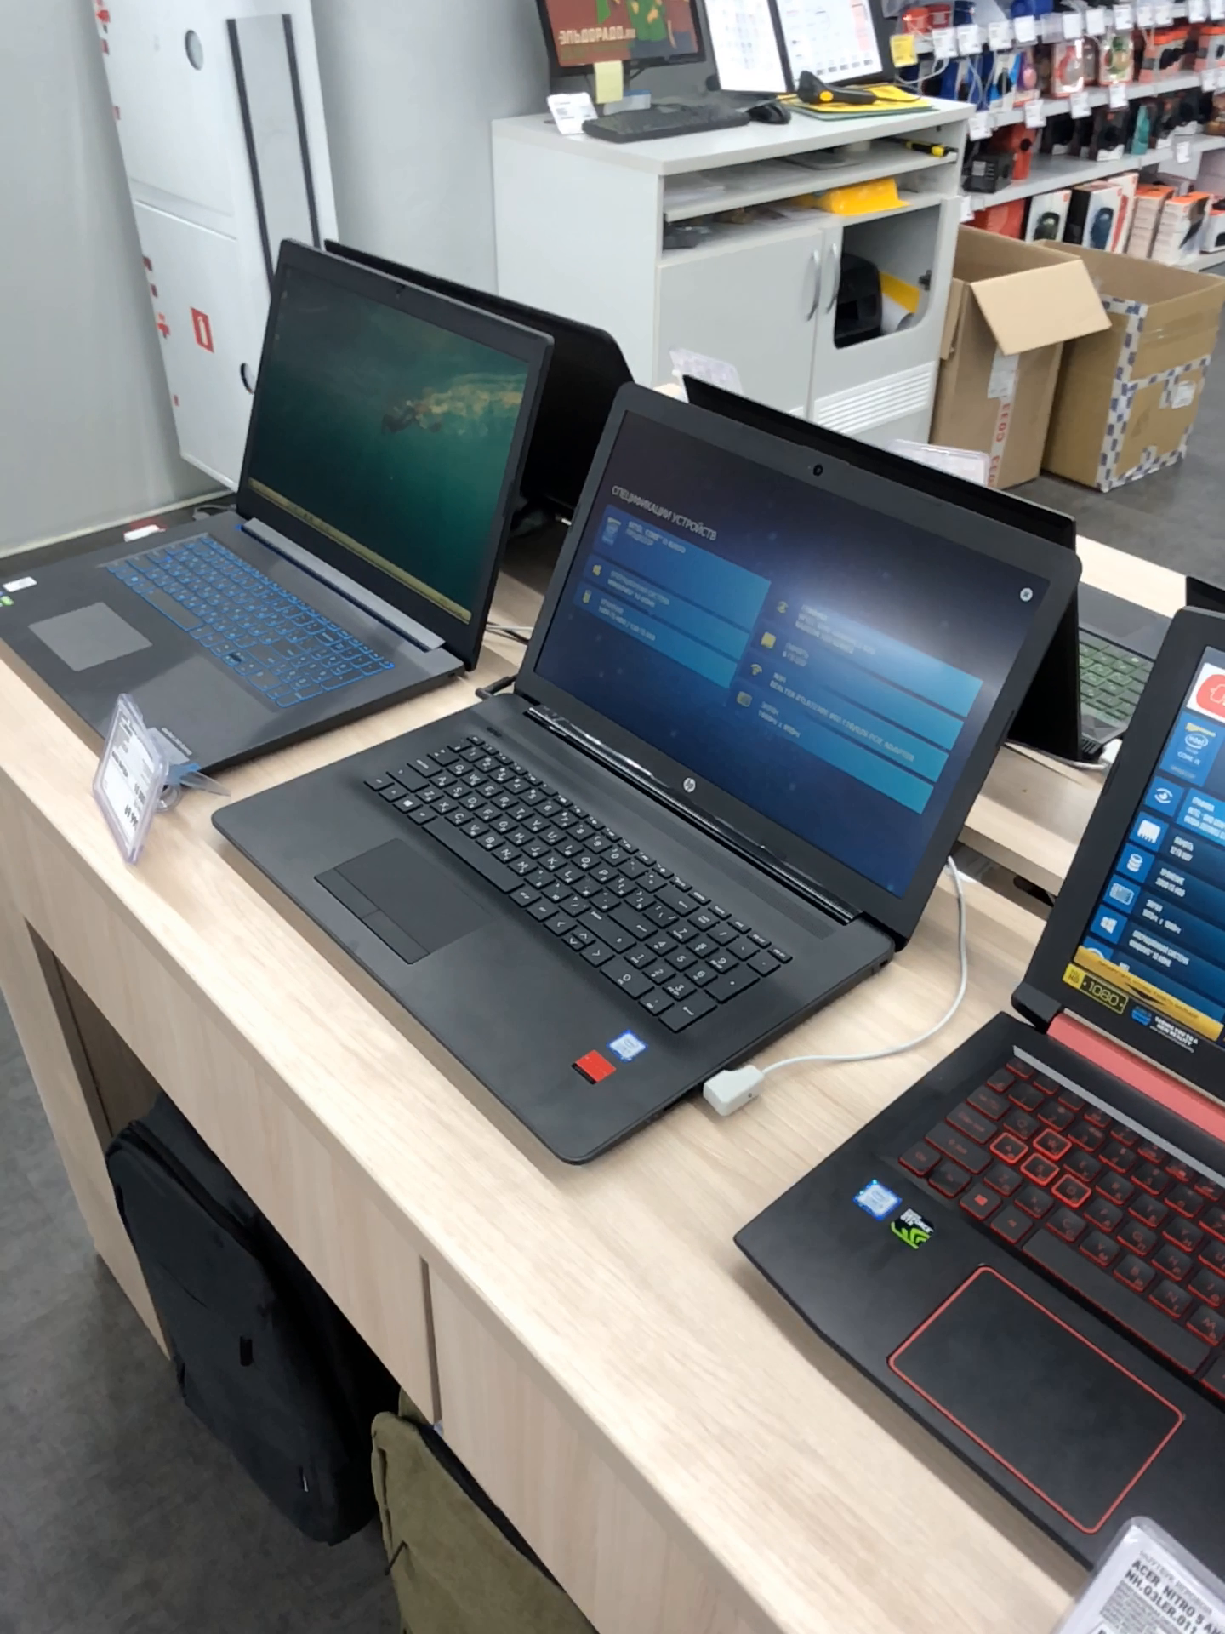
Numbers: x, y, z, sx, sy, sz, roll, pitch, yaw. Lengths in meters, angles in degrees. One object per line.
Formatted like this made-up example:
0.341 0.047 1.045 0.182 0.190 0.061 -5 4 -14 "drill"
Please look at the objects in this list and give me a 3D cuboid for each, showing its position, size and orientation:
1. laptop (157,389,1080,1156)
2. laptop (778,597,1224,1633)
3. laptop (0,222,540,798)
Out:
-0.004 -0.072 0.849 0.373 0.213 0.389 -27 44 -32 "laptop"
0.308 0.146 0.540 0.303 0.224 0.404 -31 45 -32 "laptop"
-0.314 -0.285 1.110 0.373 0.226 0.381 -29 48 -33 "laptop"
